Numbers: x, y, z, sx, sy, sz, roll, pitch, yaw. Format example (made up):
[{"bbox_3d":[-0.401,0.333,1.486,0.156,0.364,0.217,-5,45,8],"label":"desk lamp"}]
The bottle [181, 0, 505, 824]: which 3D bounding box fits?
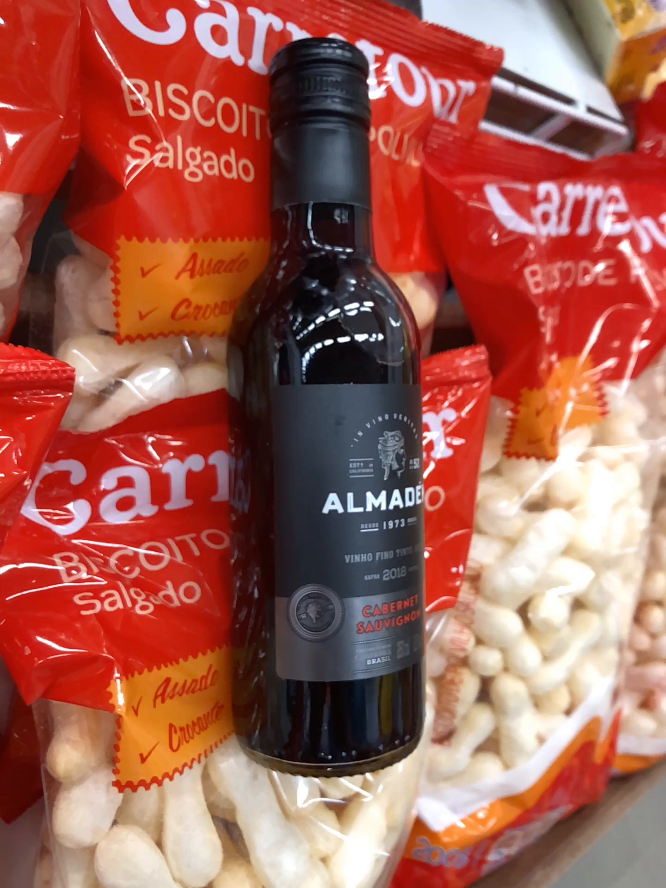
[{"bbox_3d":[0.003,-0.016,0.206,0.060,0.050,0.200,-2,89,-43],"label":"bottle"}]
